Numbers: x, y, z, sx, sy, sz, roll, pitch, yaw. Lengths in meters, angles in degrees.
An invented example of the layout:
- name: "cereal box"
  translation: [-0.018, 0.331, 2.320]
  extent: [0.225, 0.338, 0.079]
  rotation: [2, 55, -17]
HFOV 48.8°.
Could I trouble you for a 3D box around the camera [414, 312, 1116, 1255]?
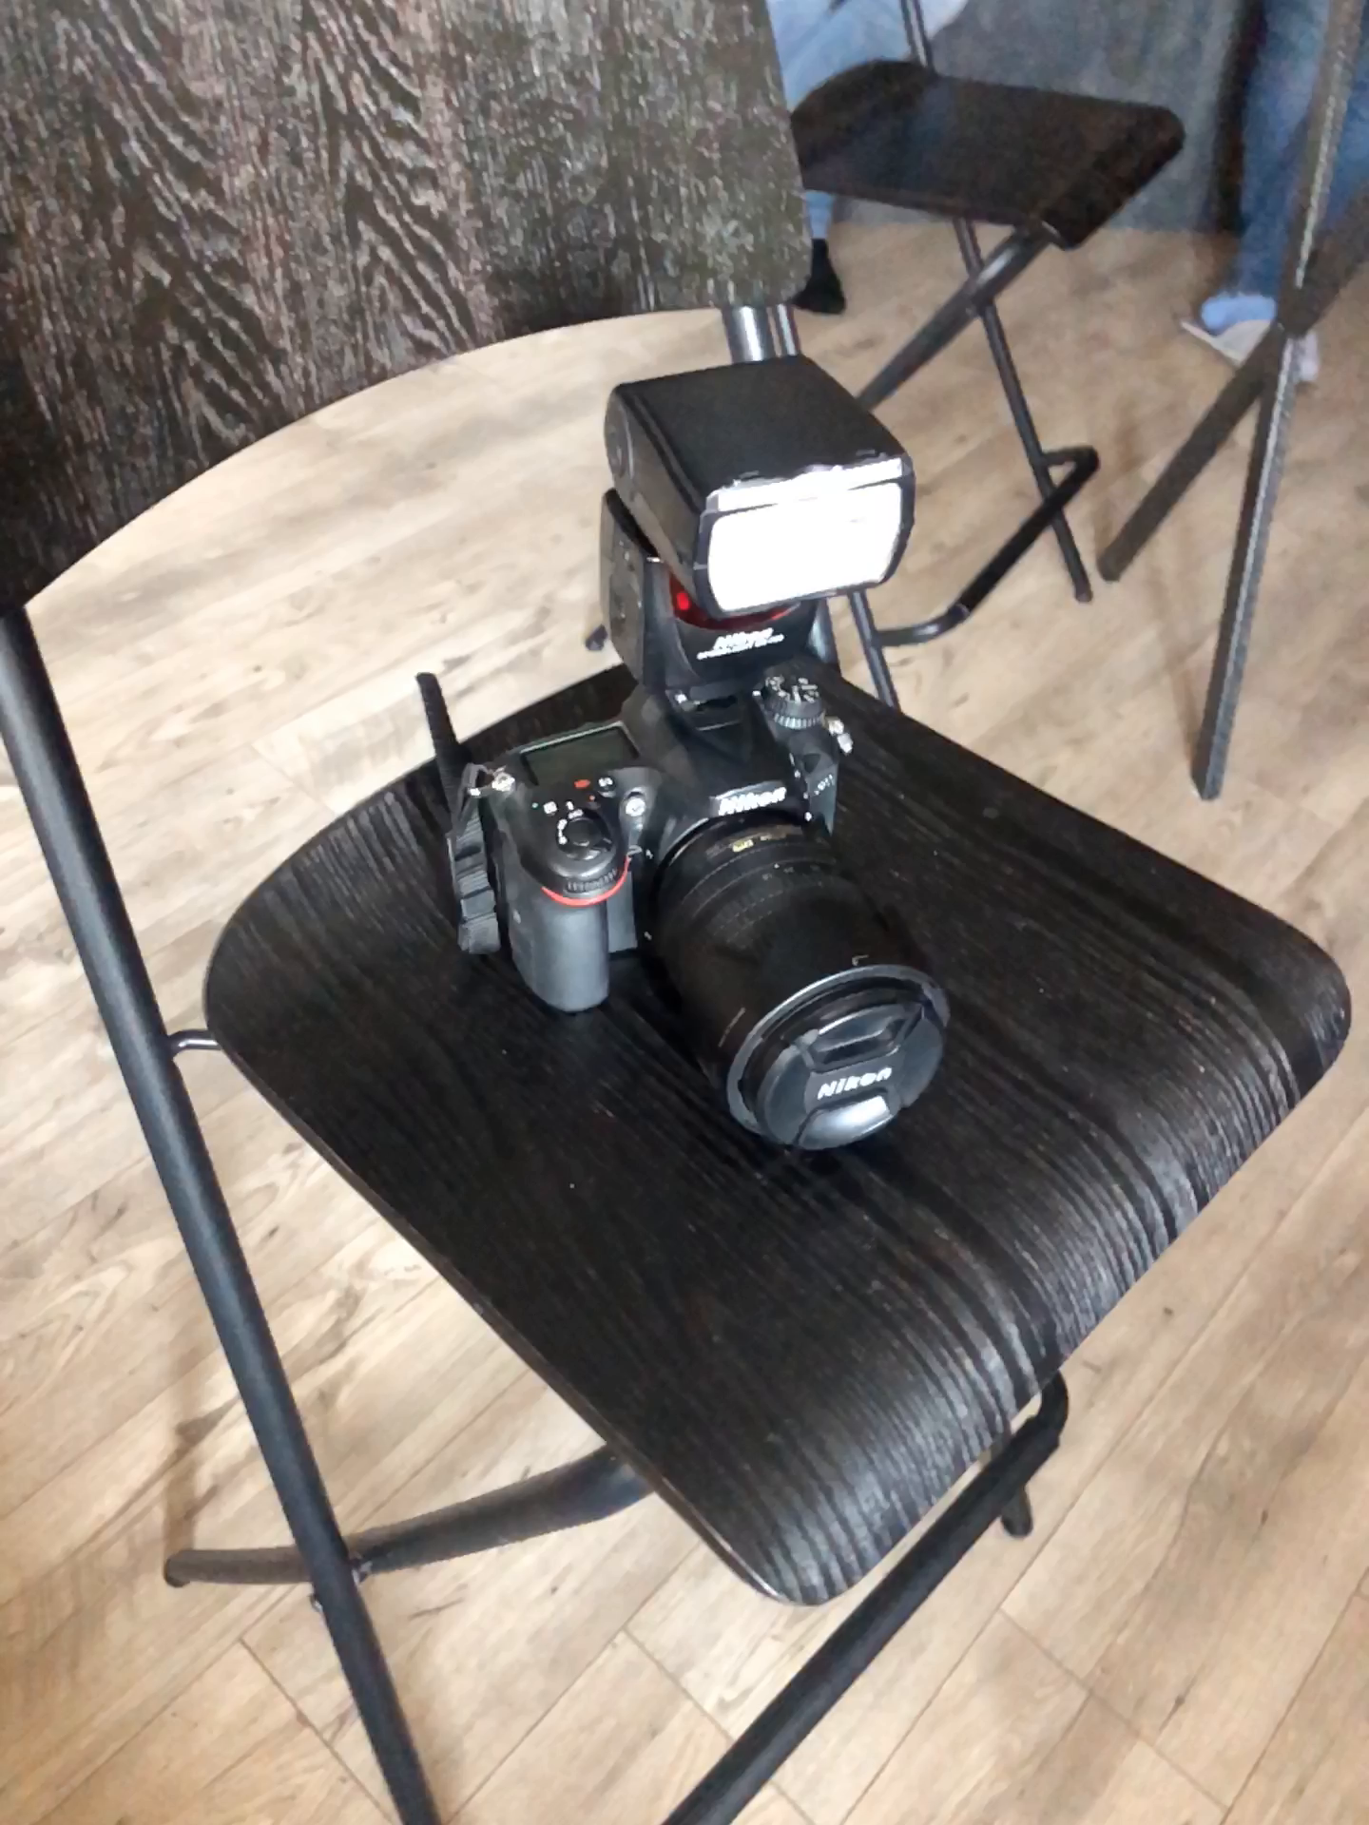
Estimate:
- name: "camera"
  translation: [0.012, -0.037, 0.477]
  extent: [0.125, 0.217, 0.168]
  rotation: [-18, 51, -16]
